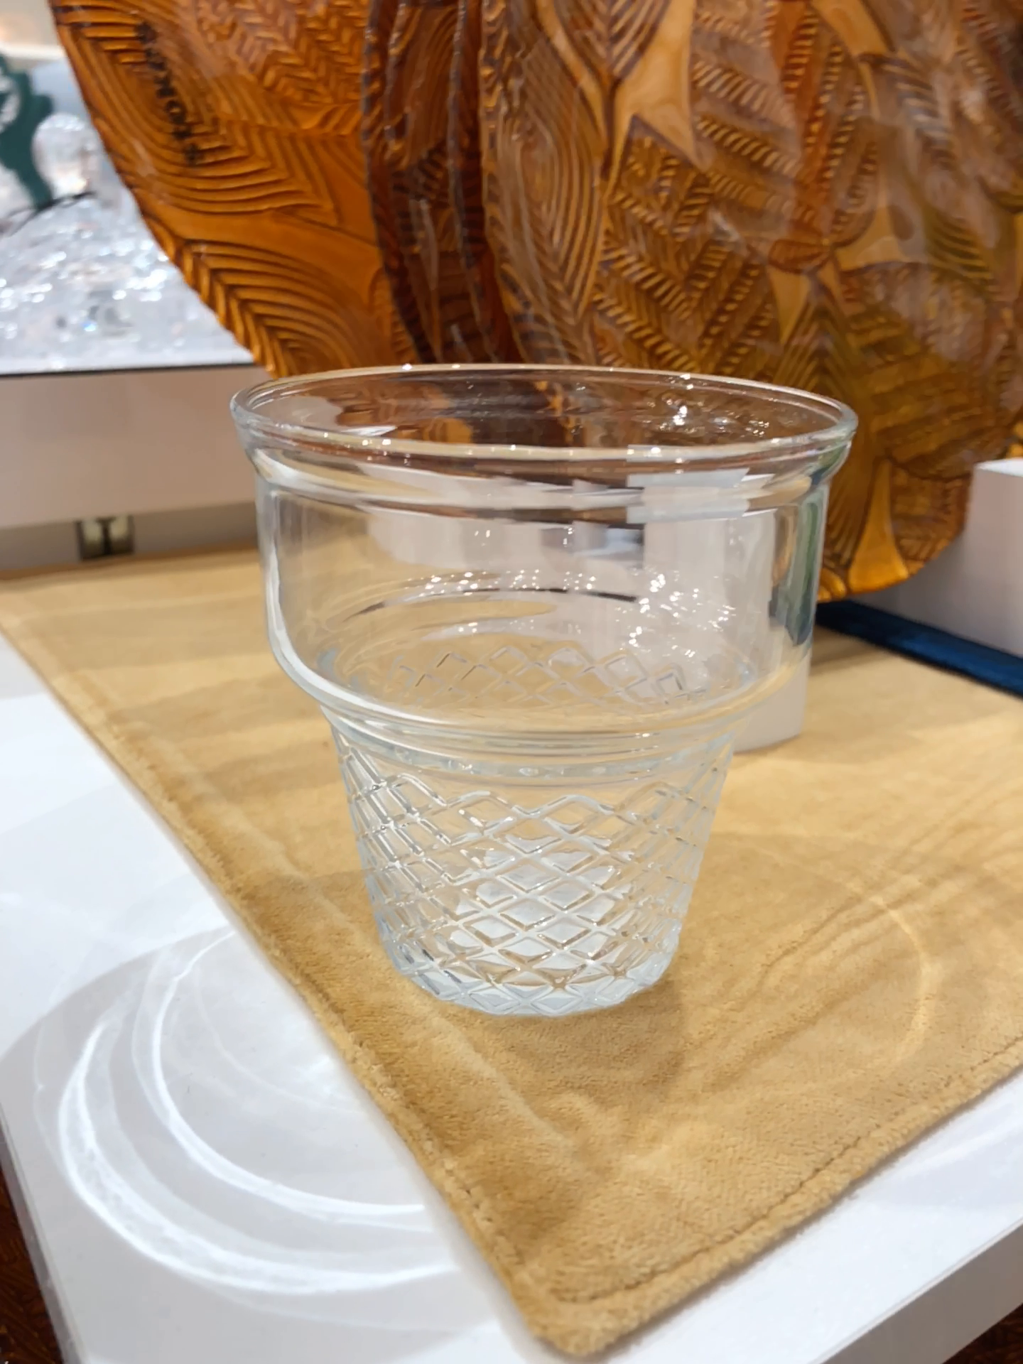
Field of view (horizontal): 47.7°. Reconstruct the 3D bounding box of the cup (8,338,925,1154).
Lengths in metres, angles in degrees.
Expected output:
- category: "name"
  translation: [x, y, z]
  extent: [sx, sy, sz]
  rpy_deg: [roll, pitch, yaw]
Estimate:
- category: "cup"
  translation: [-0.001, -0.006, 0.152]
  extent: [0.080, 0.070, 0.080]
  rpy_deg: [0, 19, 0]
